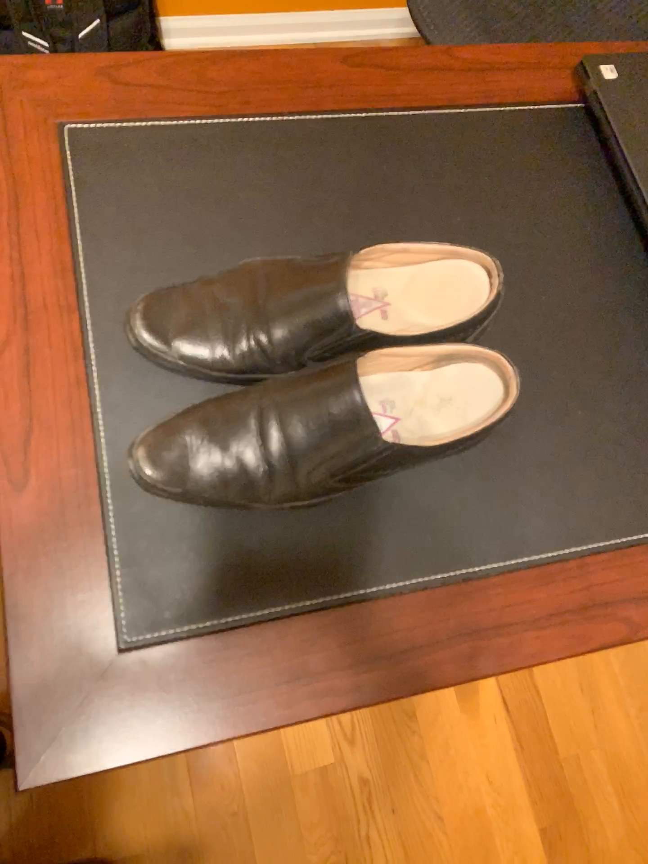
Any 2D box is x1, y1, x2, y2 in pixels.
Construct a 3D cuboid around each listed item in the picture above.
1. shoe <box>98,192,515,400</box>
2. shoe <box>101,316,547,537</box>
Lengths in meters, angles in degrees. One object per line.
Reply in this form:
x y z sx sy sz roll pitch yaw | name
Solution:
-0.014 -0.105 0.501 0.284 0.077 0.110 -7 76 -12 | shoe
-0.001 -0.005 0.469 0.284 0.077 0.106 -7 76 -12 | shoe
